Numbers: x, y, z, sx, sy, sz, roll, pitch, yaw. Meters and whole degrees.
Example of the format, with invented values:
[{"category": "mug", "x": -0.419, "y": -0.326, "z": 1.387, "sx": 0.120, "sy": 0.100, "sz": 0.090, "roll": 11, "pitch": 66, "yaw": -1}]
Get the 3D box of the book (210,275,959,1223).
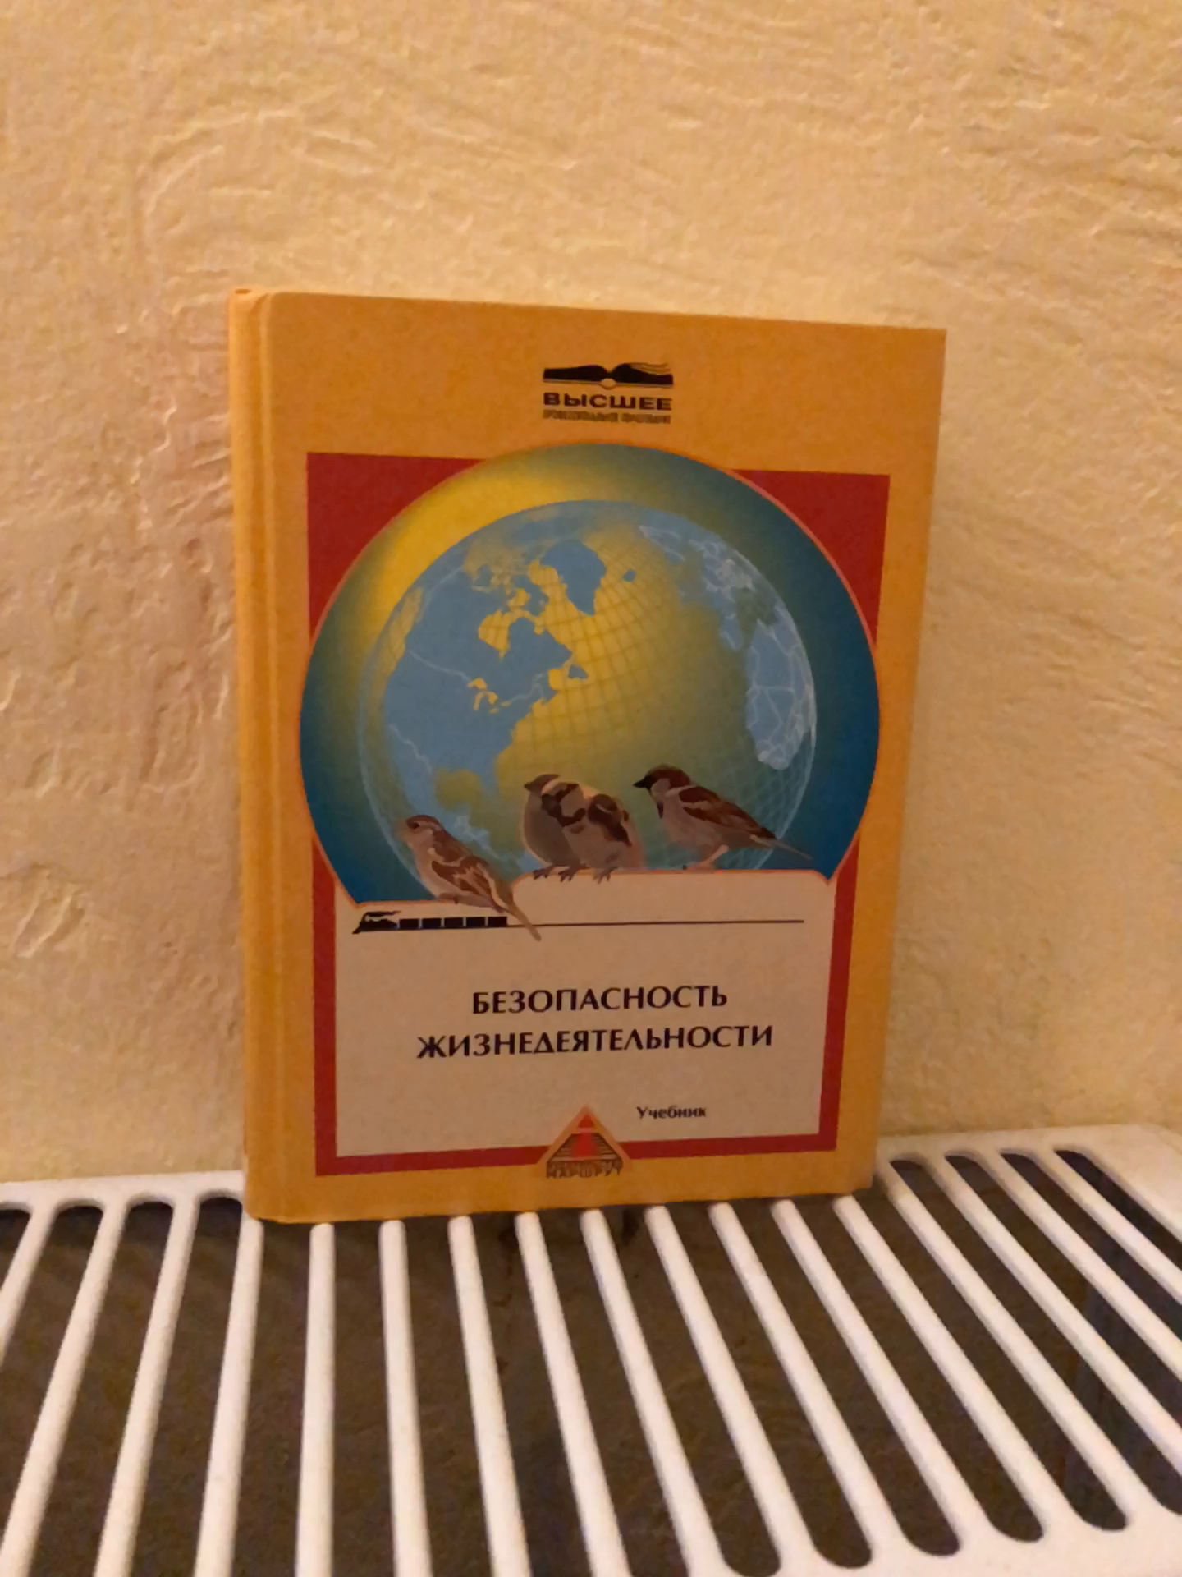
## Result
[{"category": "book", "x": -0.004, "y": -0.006, "z": 0.303, "sx": 0.150, "sy": 0.203, "sz": 0.041, "roll": -1, "pitch": 14, "yaw": -8}]
